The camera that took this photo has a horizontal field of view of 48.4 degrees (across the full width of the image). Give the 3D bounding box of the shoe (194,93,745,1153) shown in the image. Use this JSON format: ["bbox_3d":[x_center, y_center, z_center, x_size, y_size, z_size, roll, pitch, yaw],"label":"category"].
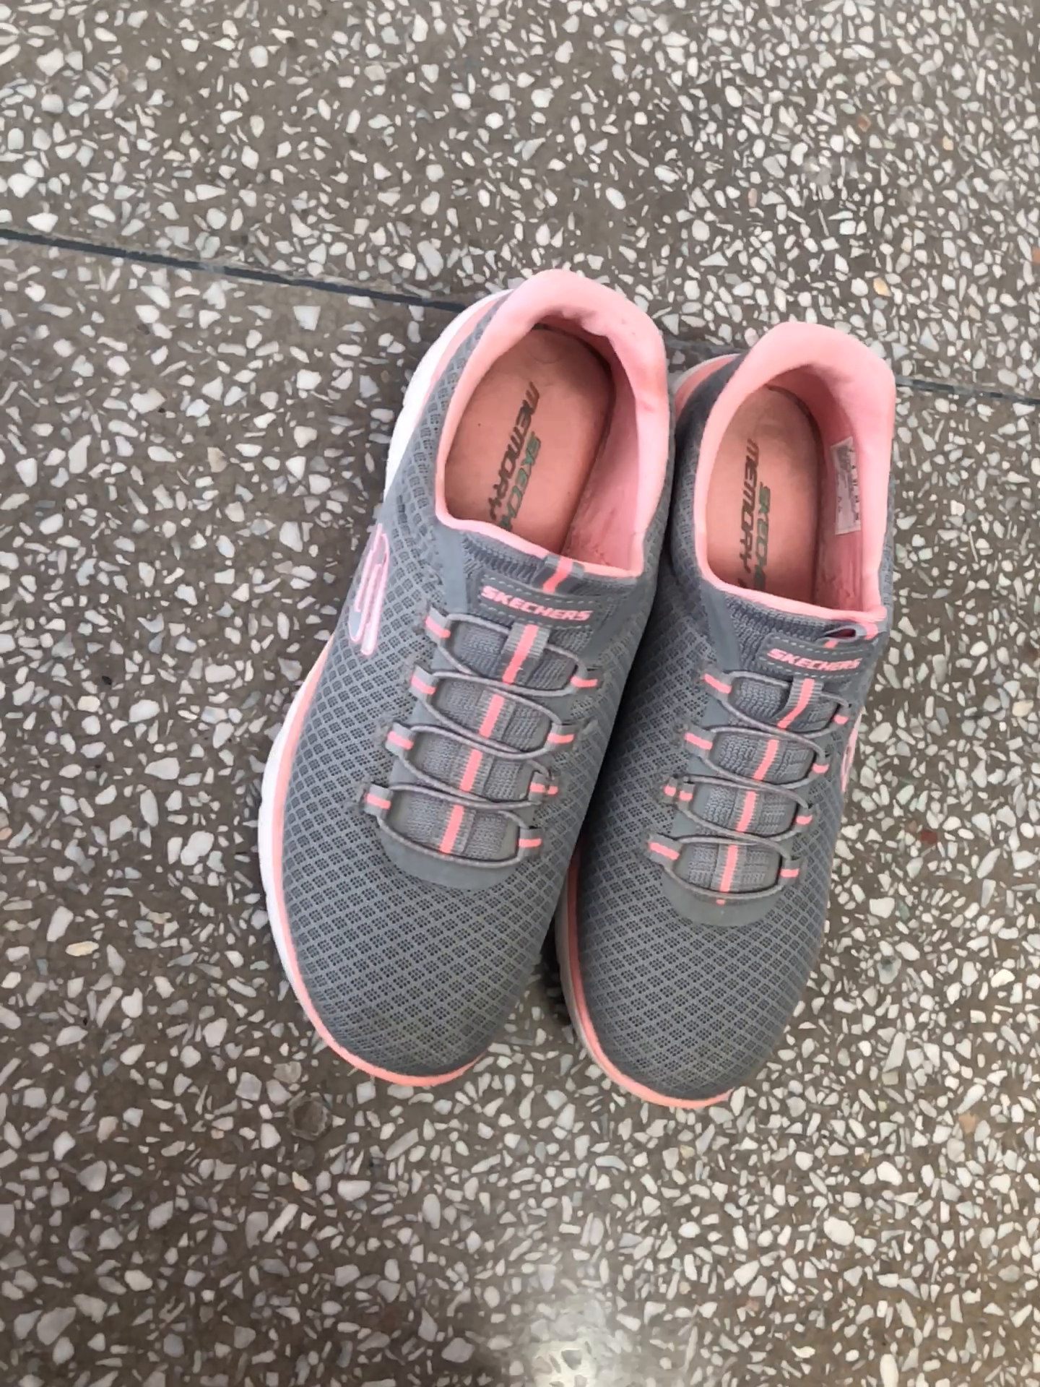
[{"bbox_3d":[-0.015,-0.017,0.329,0.097,0.095,0.252,13,76,-13],"label":"shoe"}]

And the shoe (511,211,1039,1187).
[{"bbox_3d":[0.080,0.004,0.358,0.102,0.108,0.246,13,76,-13],"label":"shoe"}]
